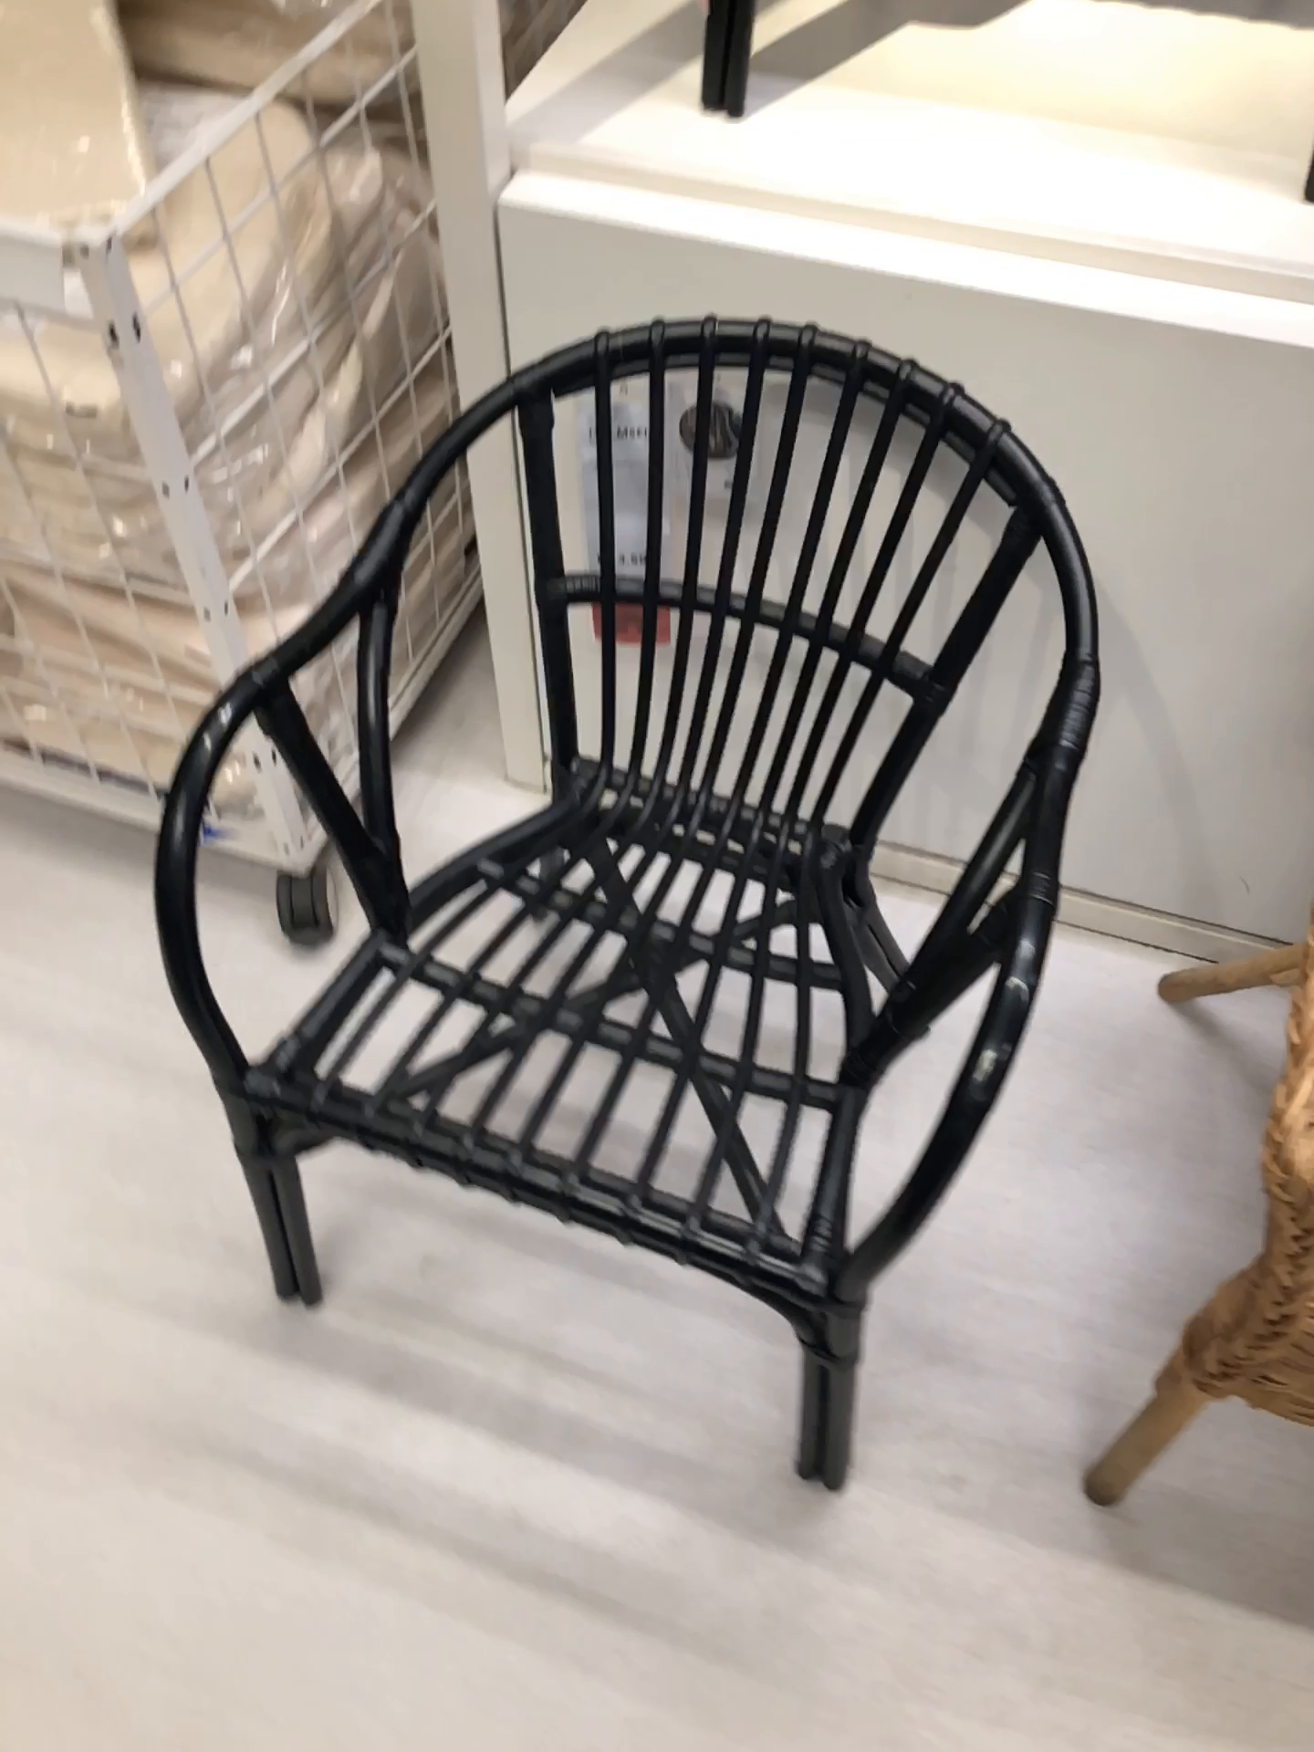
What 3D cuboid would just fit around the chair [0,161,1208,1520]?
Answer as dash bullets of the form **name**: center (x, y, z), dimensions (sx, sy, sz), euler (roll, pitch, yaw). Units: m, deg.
- **chair**: center (-0.032, 0.025, 1.021), dimensions (0.550, 0.756, 0.472), euler (16, 54, 12)
